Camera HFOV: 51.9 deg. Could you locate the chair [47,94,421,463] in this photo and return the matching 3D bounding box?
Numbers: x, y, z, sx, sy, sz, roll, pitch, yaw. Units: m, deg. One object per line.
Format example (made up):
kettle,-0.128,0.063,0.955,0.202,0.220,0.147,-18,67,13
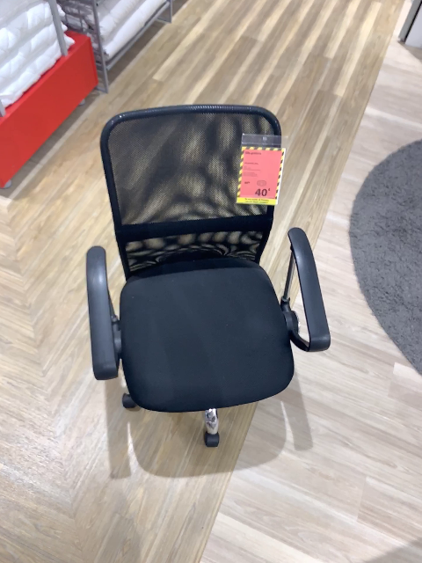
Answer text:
chair,0.008,0.067,1.191,0.640,0.868,0.602,-5,59,-8
